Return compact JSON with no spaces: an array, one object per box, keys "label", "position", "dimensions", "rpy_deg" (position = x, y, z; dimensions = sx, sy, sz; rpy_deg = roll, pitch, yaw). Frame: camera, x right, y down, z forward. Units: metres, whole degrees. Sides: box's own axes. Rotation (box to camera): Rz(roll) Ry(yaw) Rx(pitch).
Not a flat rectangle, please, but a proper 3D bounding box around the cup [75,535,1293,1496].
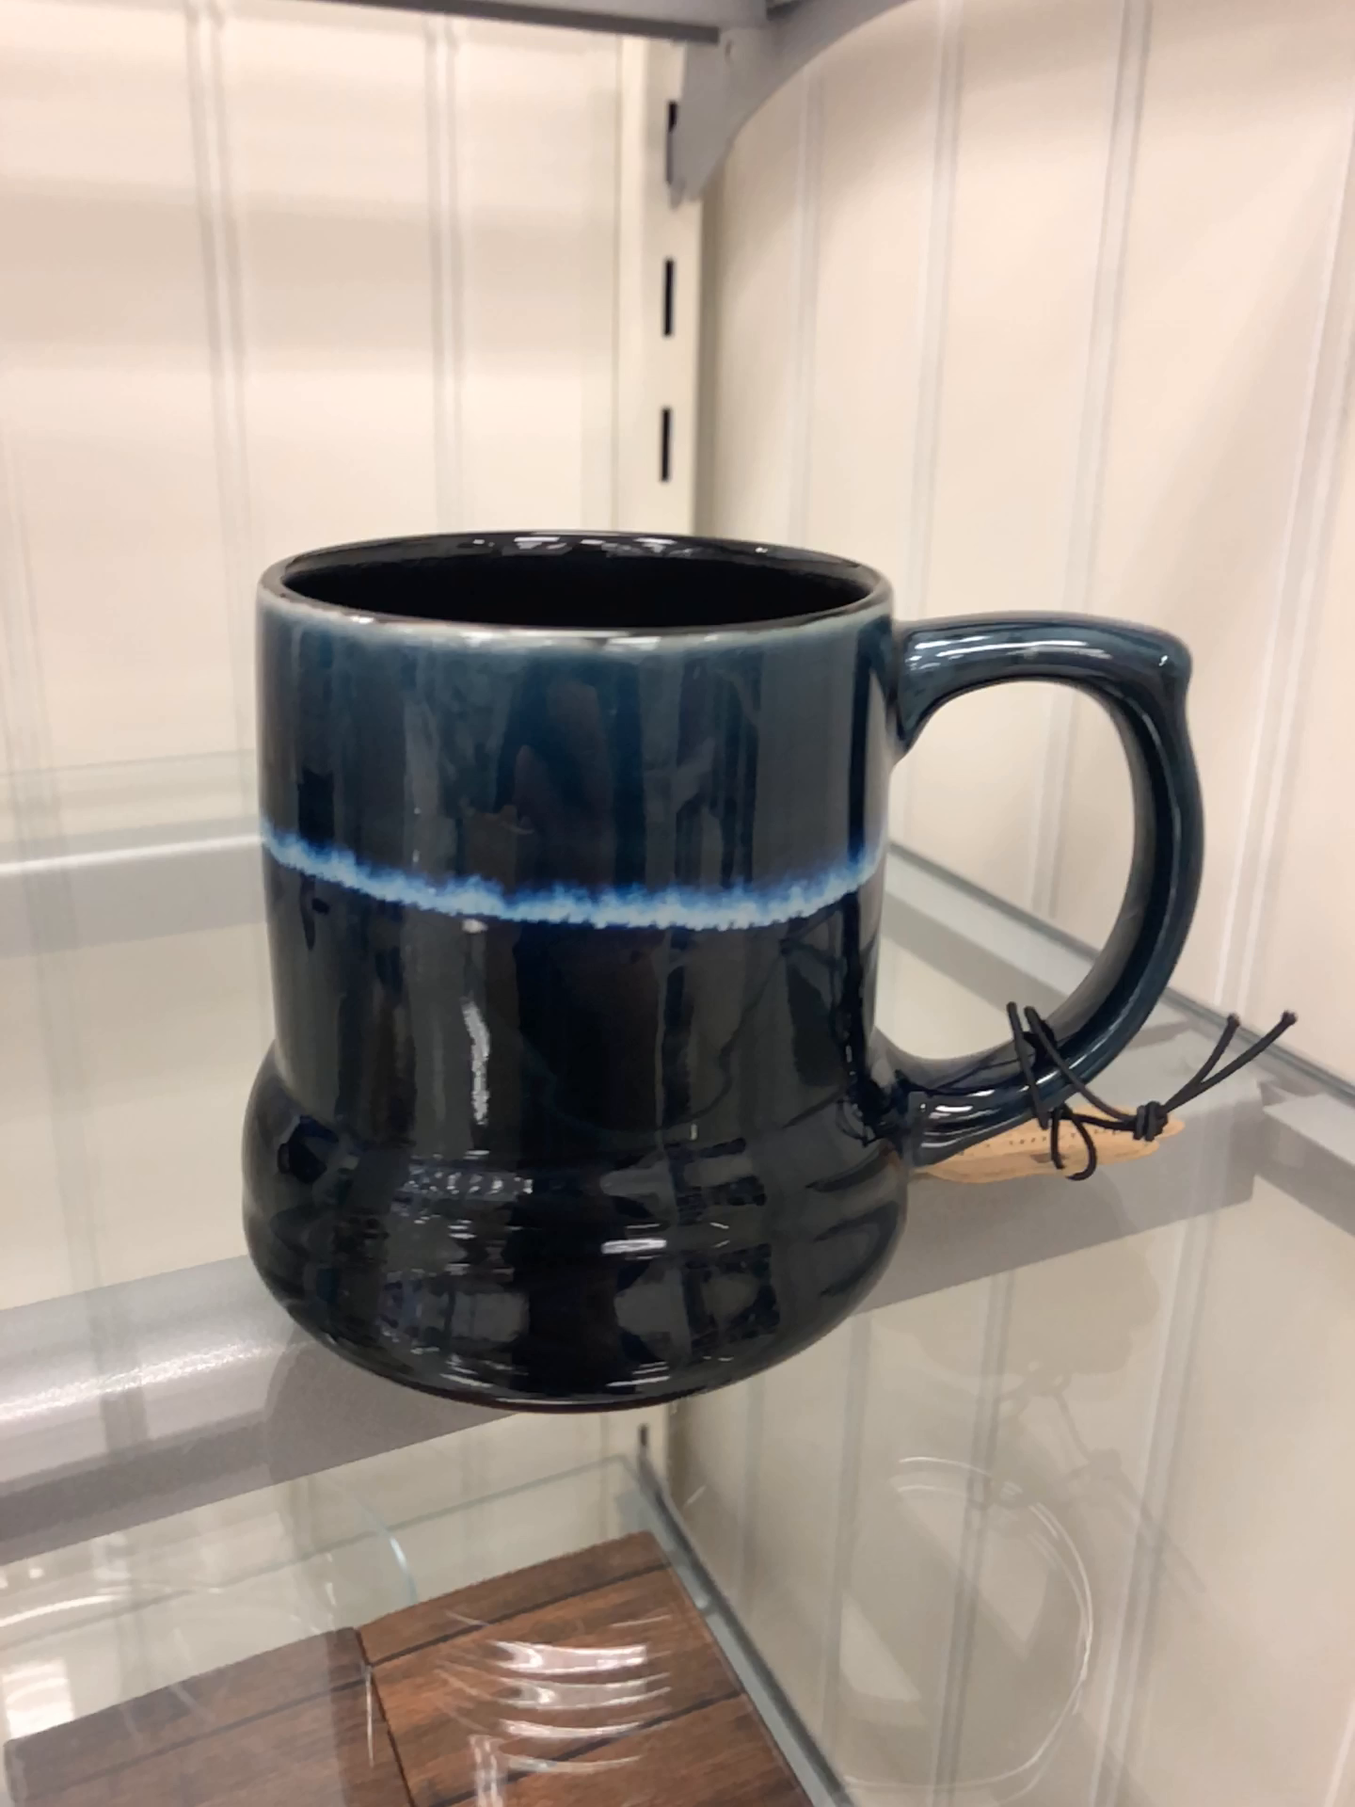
[{"label":"cup","position":[-0.005,0.006,0.236],"dimensions":[0.140,0.109,0.101],"rpy_deg":[-2,21,-10]}]
